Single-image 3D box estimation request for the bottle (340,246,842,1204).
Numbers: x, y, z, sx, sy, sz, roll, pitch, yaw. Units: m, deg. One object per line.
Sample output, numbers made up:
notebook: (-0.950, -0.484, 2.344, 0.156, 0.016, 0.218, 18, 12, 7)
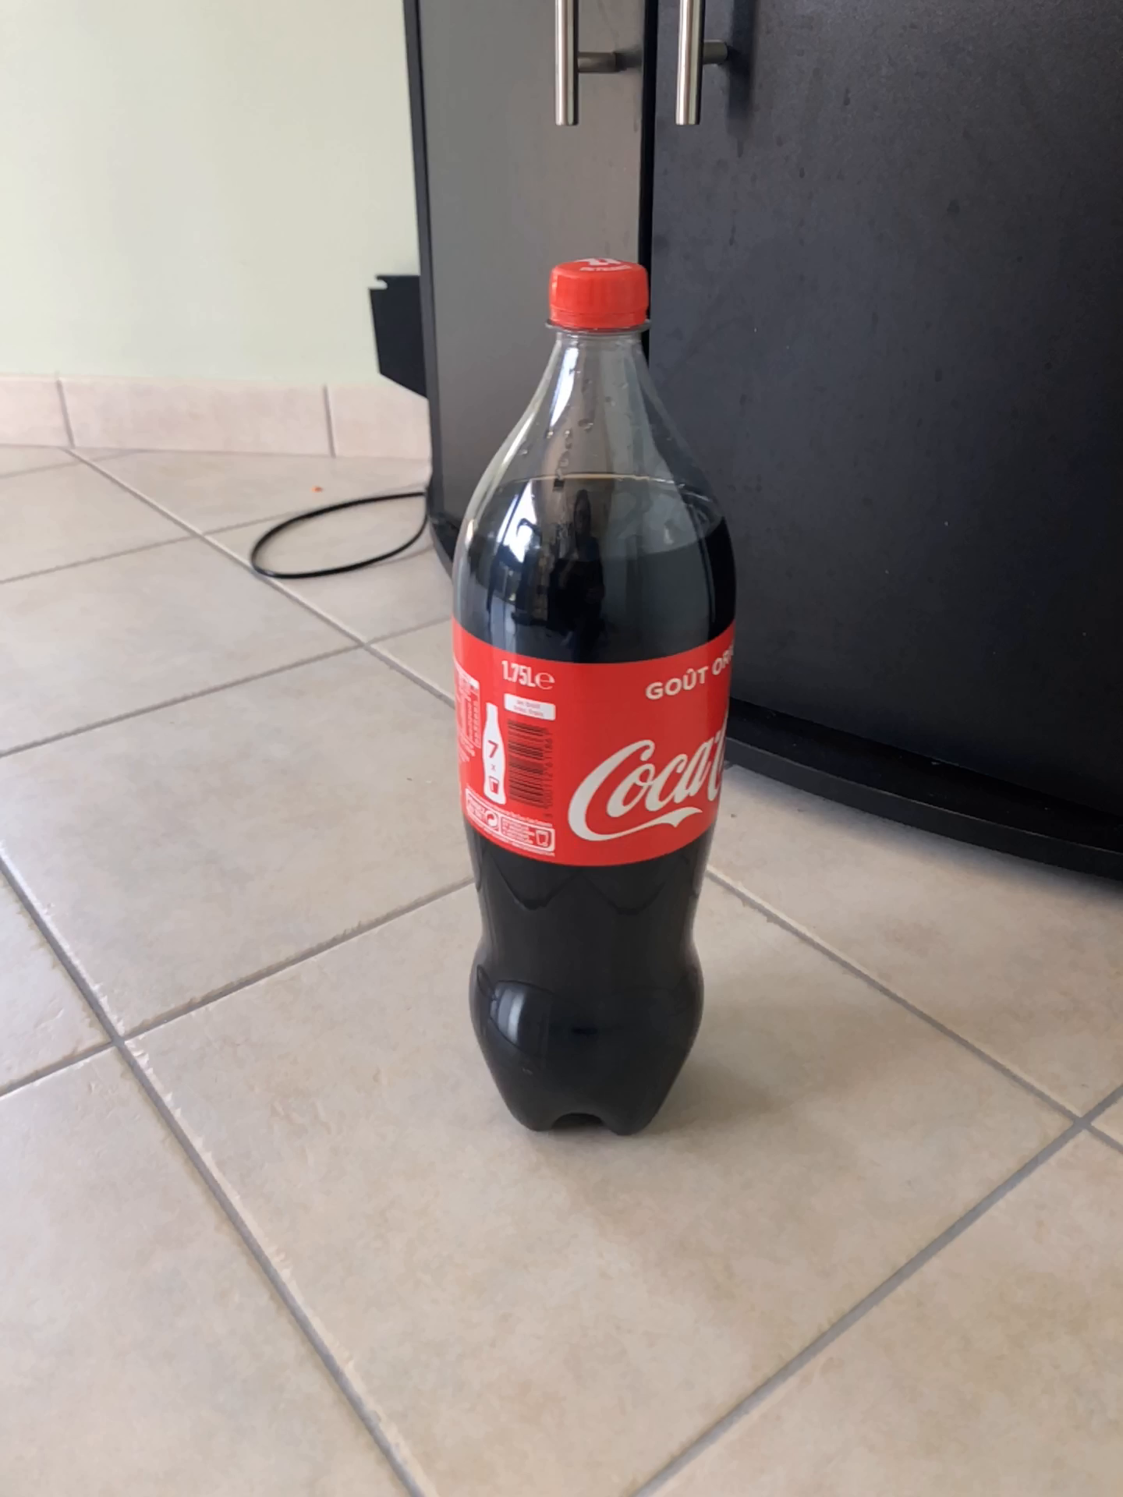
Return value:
bottle: (0.010, -0.004, 0.441, 0.111, 0.308, 0.100, -23, 37, -34)
